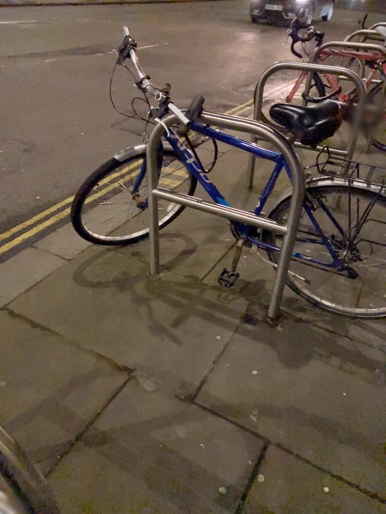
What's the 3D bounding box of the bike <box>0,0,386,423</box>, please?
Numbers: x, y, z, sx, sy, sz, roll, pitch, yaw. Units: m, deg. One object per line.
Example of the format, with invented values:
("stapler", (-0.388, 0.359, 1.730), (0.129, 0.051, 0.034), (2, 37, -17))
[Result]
("bike", (0.204, -0.240, 1.527), (1.594, 1.108, 0.659), (16, 38, 15))
